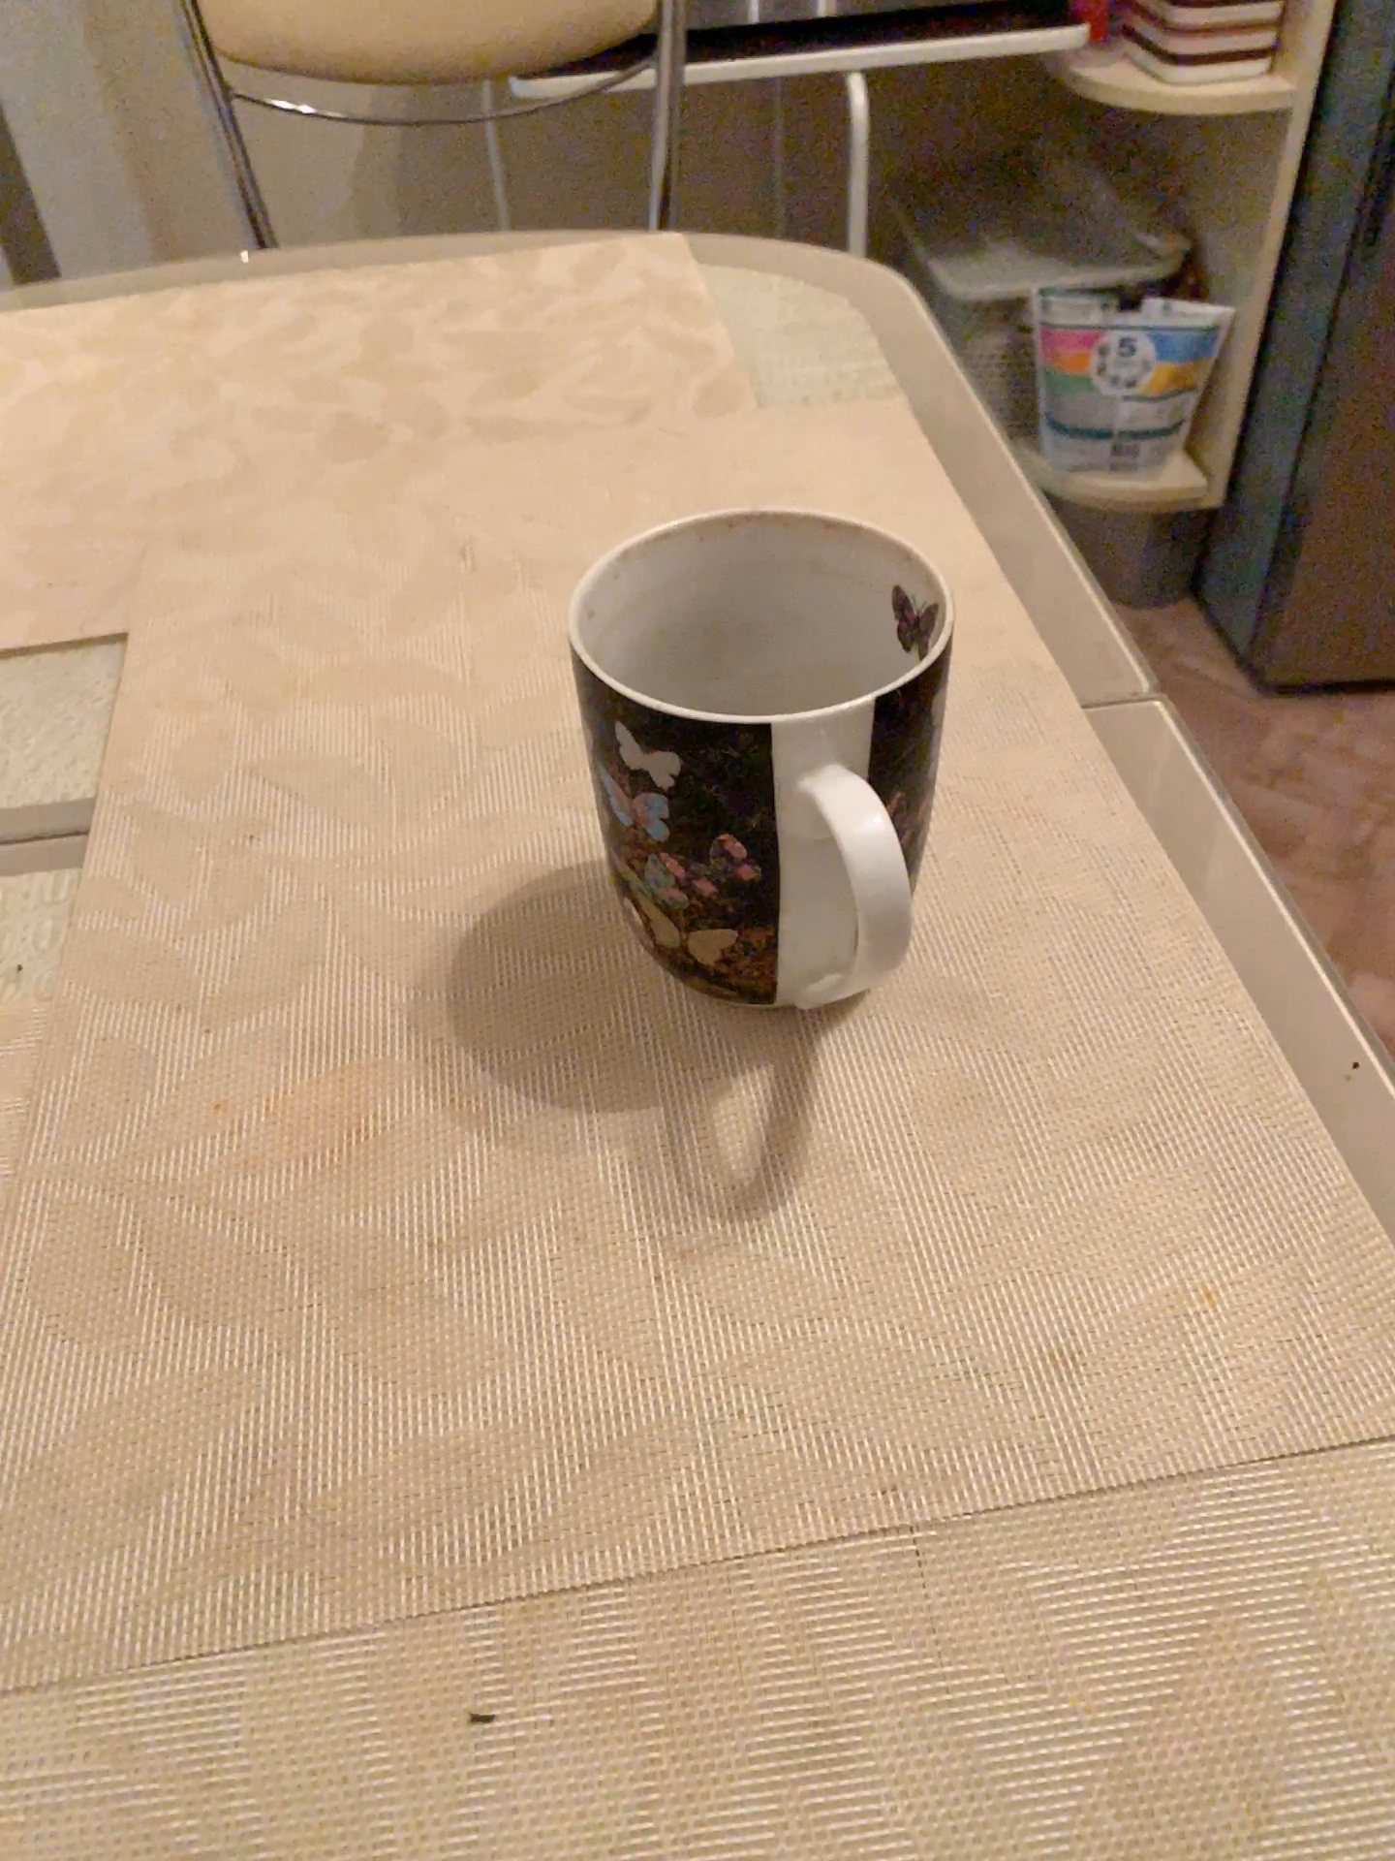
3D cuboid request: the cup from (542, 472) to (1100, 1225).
[{"bbox_3d":[0.019,-0.022,0.321,0.081,0.097,0.127,-10,46,-6],"label":"cup"}]
